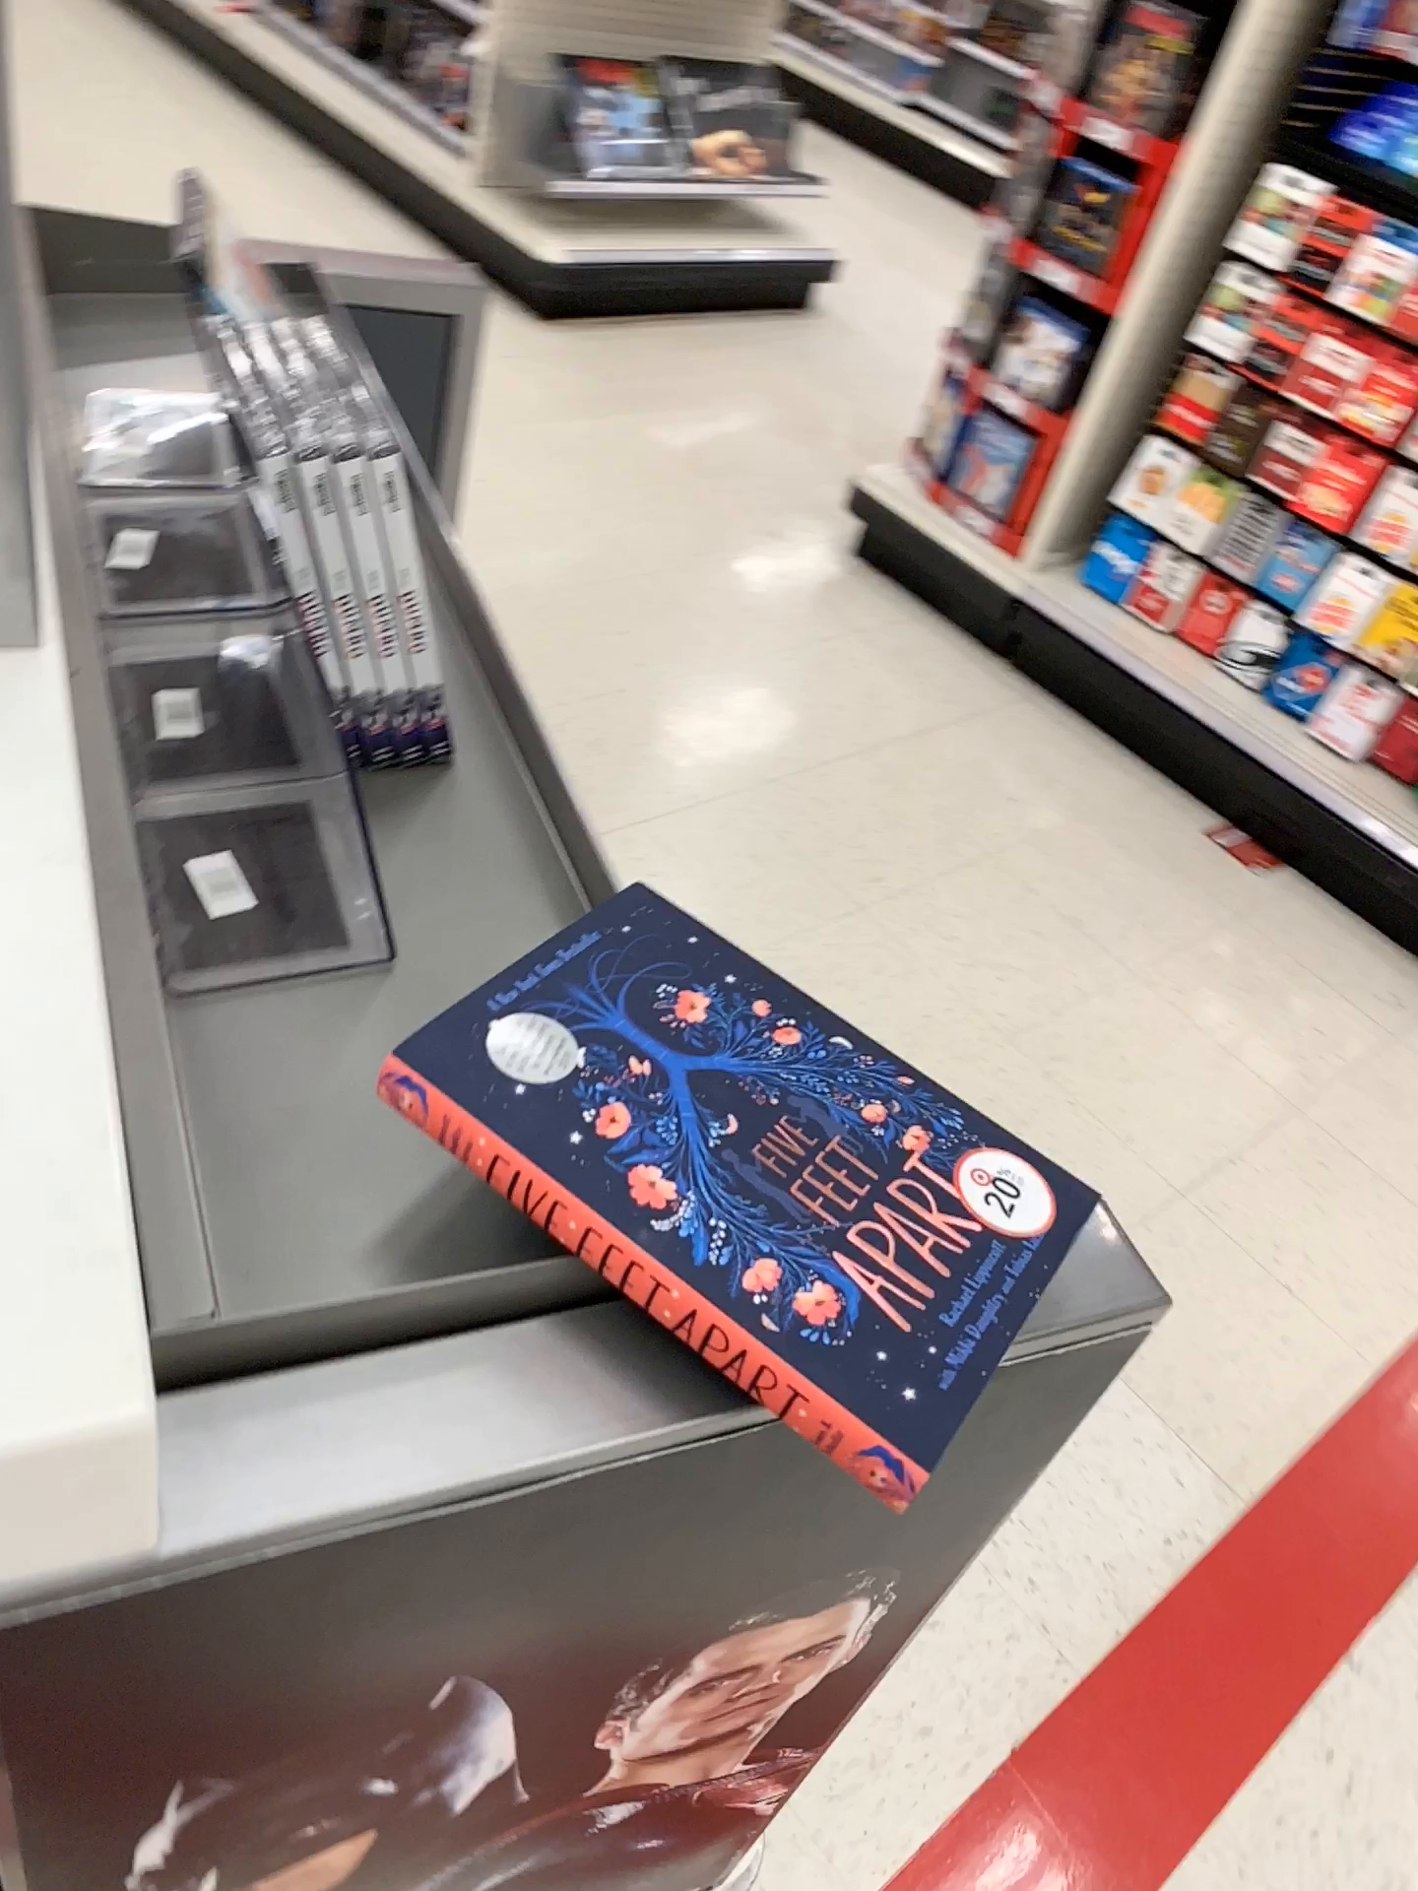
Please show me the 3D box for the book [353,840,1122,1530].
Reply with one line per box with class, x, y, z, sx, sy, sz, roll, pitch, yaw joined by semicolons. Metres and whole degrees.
book;0.014;0.065;0.494;0.220;0.028;0.151;35;44;14
